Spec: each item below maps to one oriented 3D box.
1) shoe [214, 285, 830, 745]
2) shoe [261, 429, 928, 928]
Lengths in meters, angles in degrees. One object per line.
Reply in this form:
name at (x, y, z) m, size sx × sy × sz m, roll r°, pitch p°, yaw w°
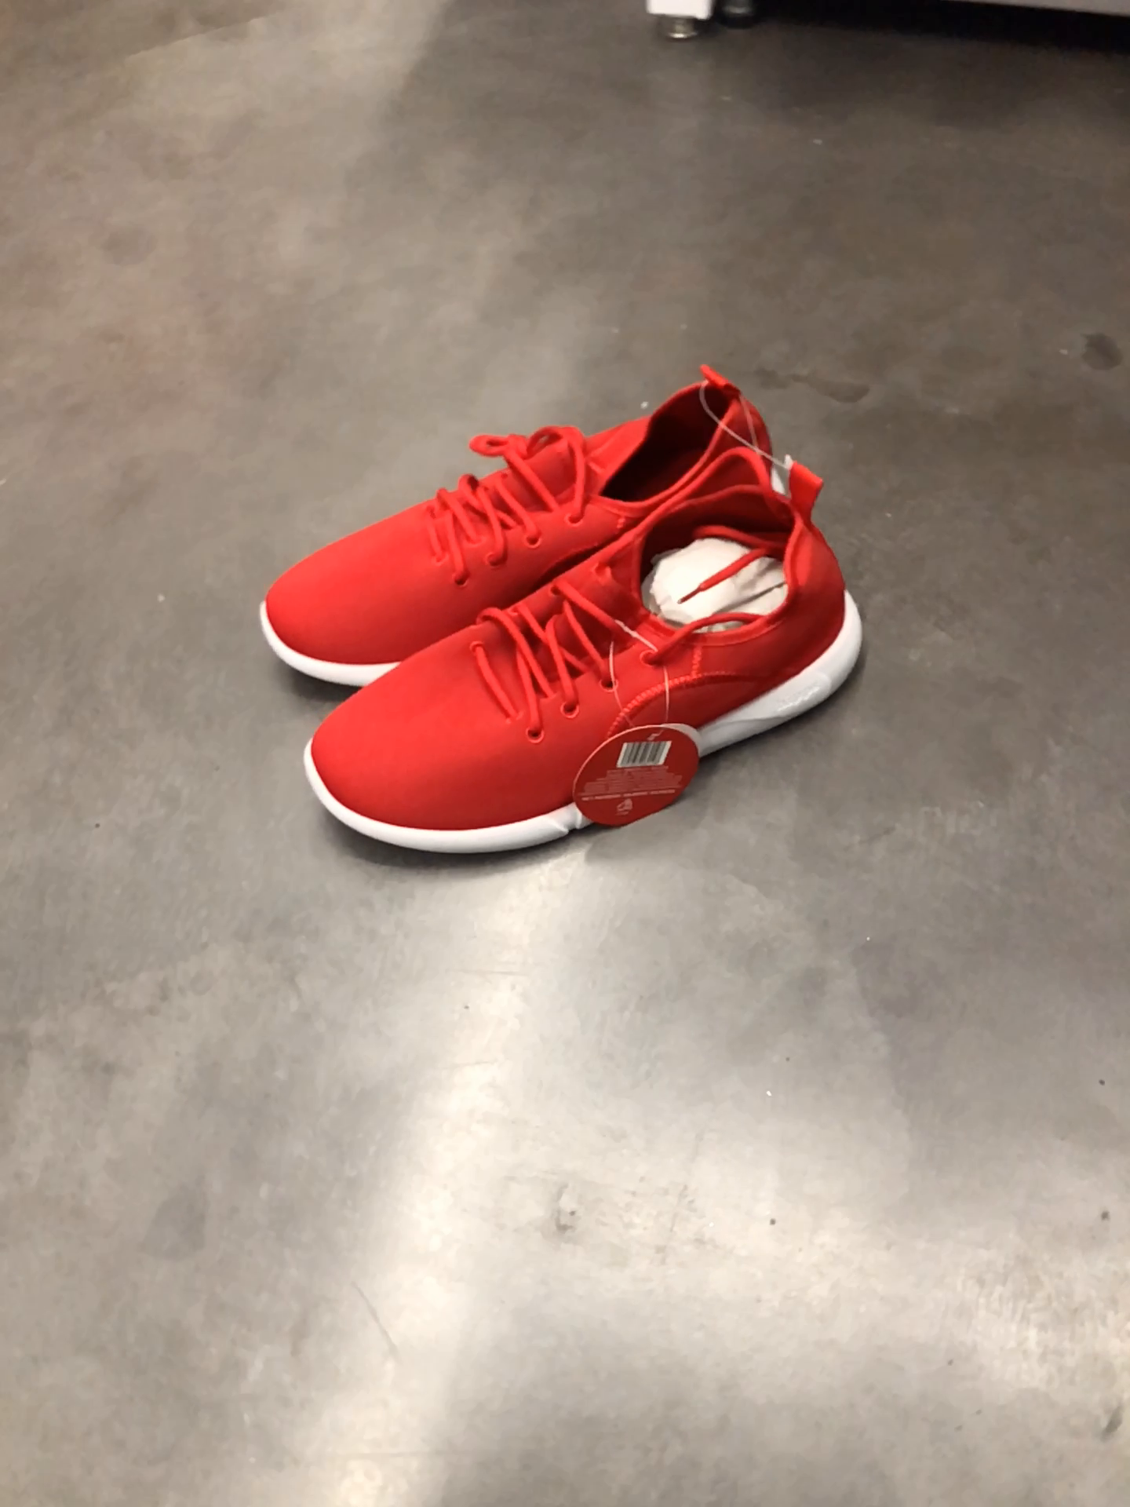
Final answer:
shoe at (-0.017, -0.111, 0.584) m, size 0.250 × 0.100 × 0.100 m, roll -20°, pitch 60°, yaw -8°
shoe at (0.014, -0.033, 0.546) m, size 0.250 × 0.100 × 0.100 m, roll -21°, pitch 60°, yaw -8°
